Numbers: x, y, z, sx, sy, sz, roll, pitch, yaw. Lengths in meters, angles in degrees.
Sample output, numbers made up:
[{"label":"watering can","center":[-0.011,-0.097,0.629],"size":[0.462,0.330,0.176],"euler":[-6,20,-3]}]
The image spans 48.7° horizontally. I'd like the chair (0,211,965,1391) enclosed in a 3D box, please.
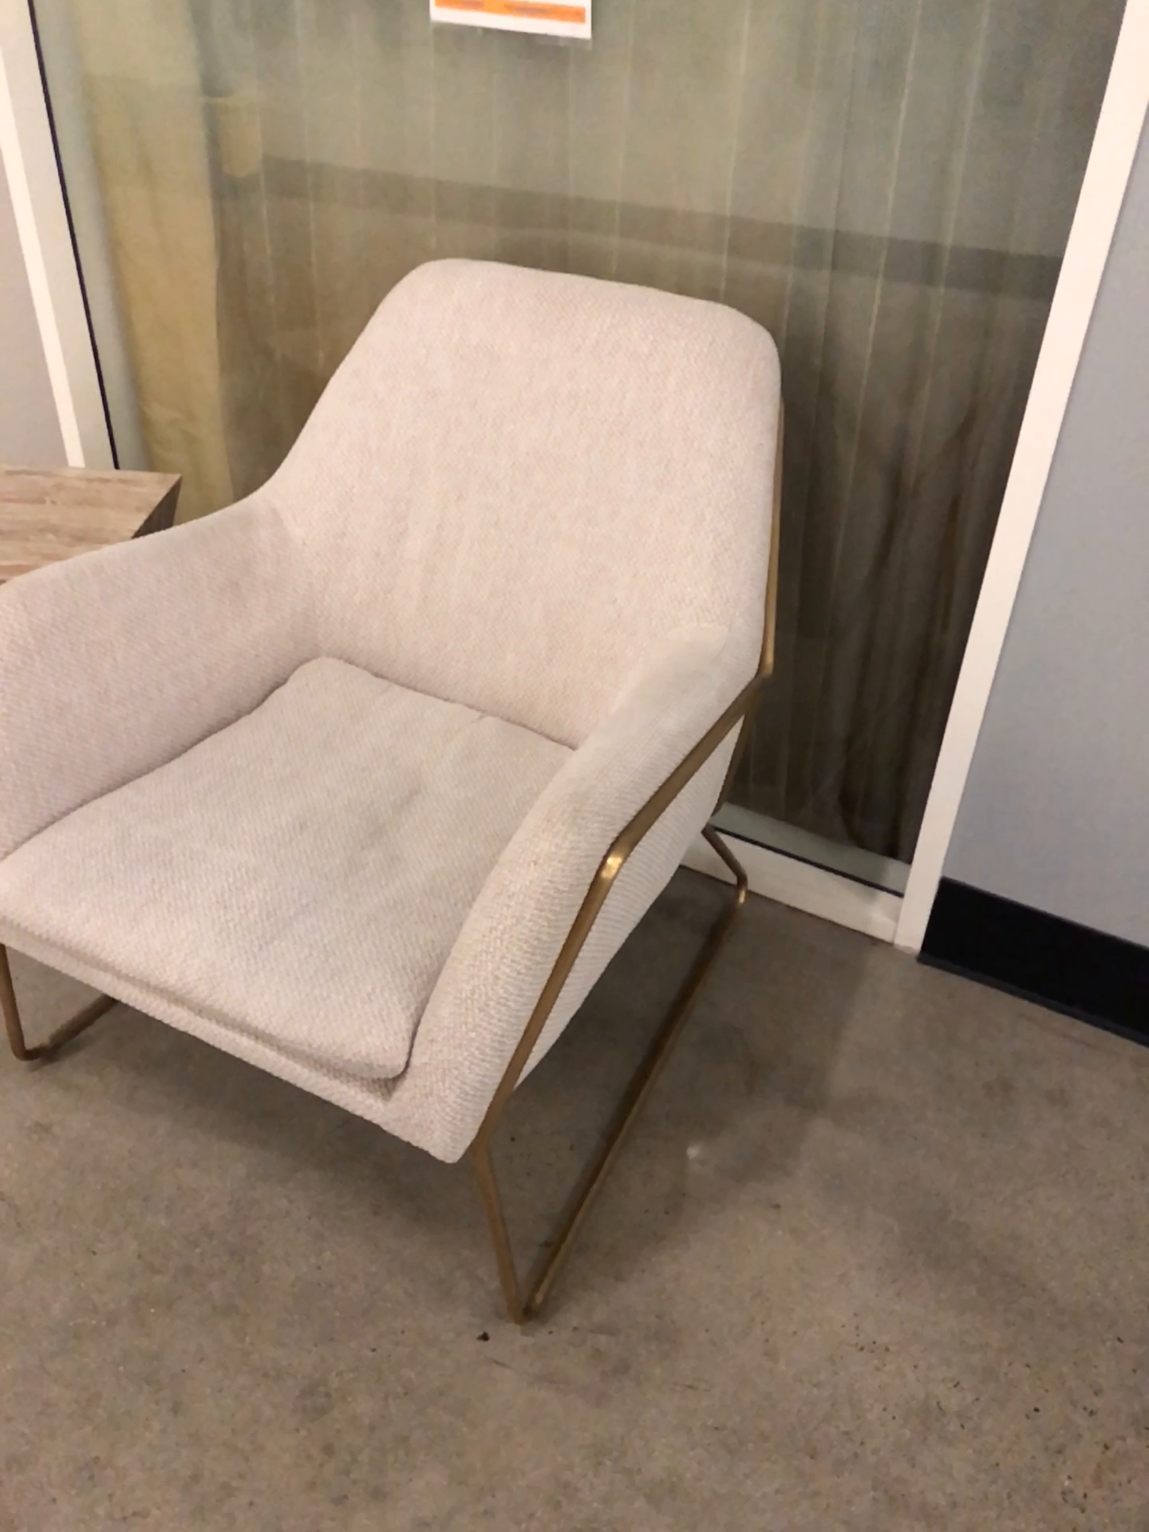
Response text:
[{"label":"chair","center":[-0.157,-0.077,1.474],"size":[0.831,0.816,0.893],"euler":[19,38,22]}]
